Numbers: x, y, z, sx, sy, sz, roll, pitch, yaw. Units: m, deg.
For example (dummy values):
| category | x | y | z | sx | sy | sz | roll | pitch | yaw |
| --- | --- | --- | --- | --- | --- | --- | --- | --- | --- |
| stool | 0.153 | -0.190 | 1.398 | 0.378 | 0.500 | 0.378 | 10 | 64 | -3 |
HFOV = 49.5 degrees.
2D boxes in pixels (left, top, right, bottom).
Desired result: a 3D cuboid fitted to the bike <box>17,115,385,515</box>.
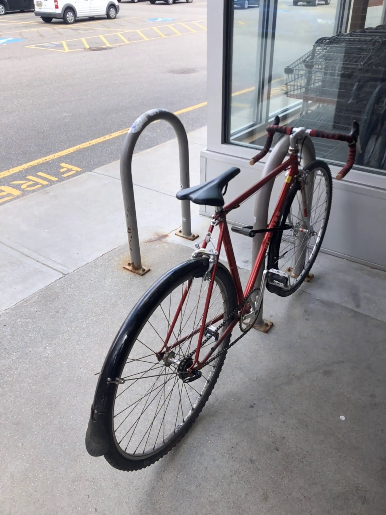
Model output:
| category | x | y | z | sx | sy | sz | roll | pitch | yaw |
| --- | --- | --- | --- | --- | --- | --- | --- | --- | --- |
| bike | 0.233 | 0.073 | 1.724 | 0.459 | 0.787 | 1.697 | 20 | 41 | 29 |
